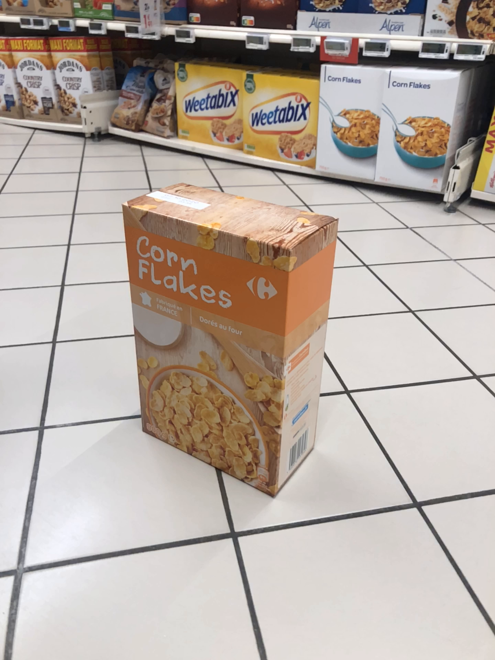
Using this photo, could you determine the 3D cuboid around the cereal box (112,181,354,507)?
[{"bbox_3d":[-0.019,0.009,0.578,0.200,0.278,0.111,19,34,27],"label":"cereal box"}]
